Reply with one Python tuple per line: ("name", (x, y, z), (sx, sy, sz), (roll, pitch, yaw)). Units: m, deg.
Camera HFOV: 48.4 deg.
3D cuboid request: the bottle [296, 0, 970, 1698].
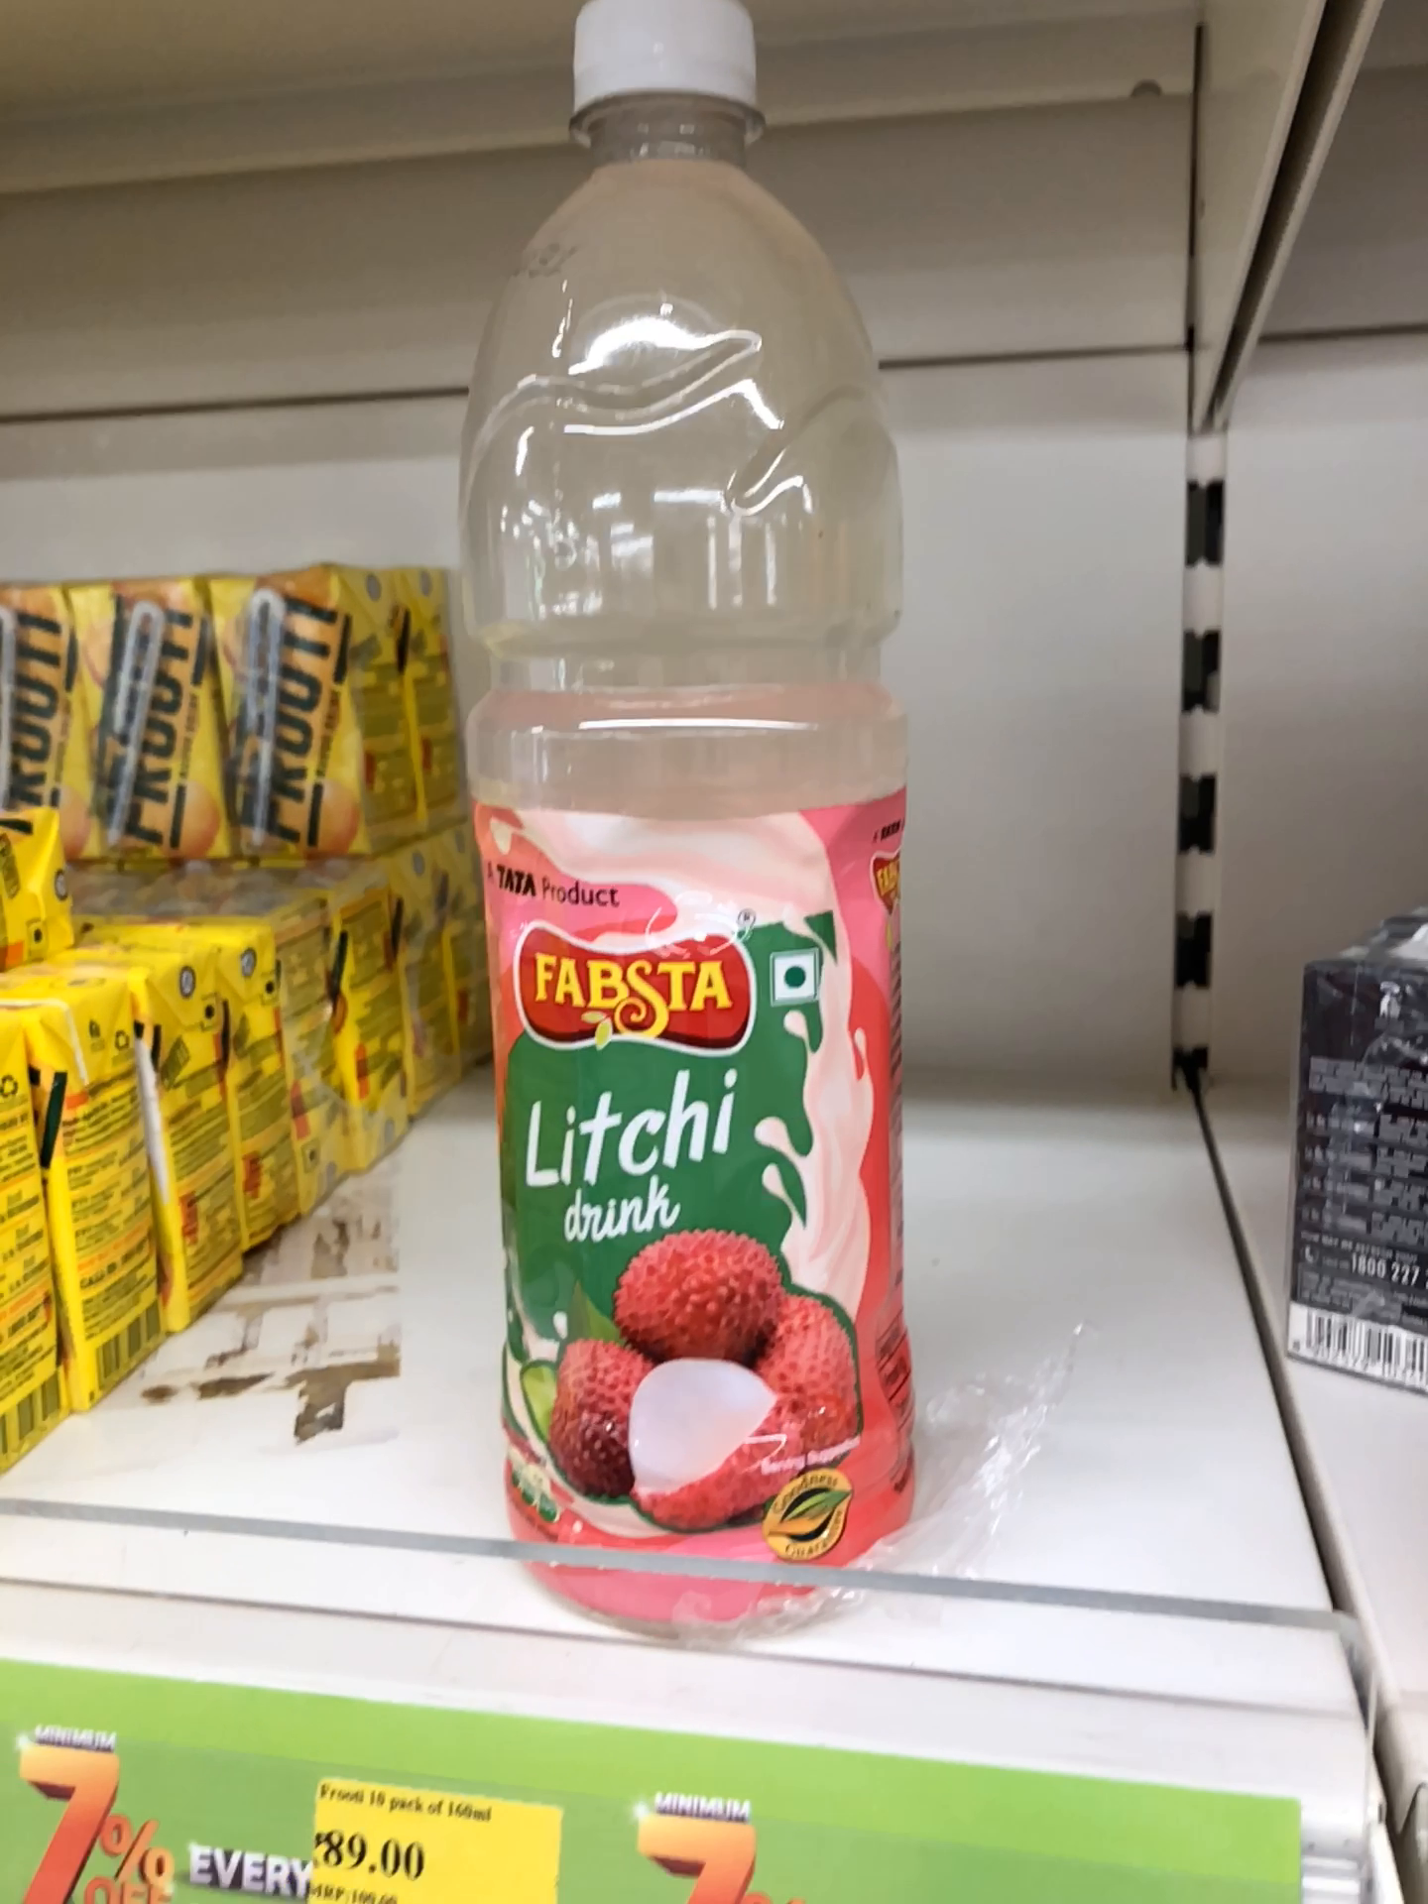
("bottle", (-0.004, -0.019, 0.277), (0.080, 0.269, 0.070), (3, 14, 22))
